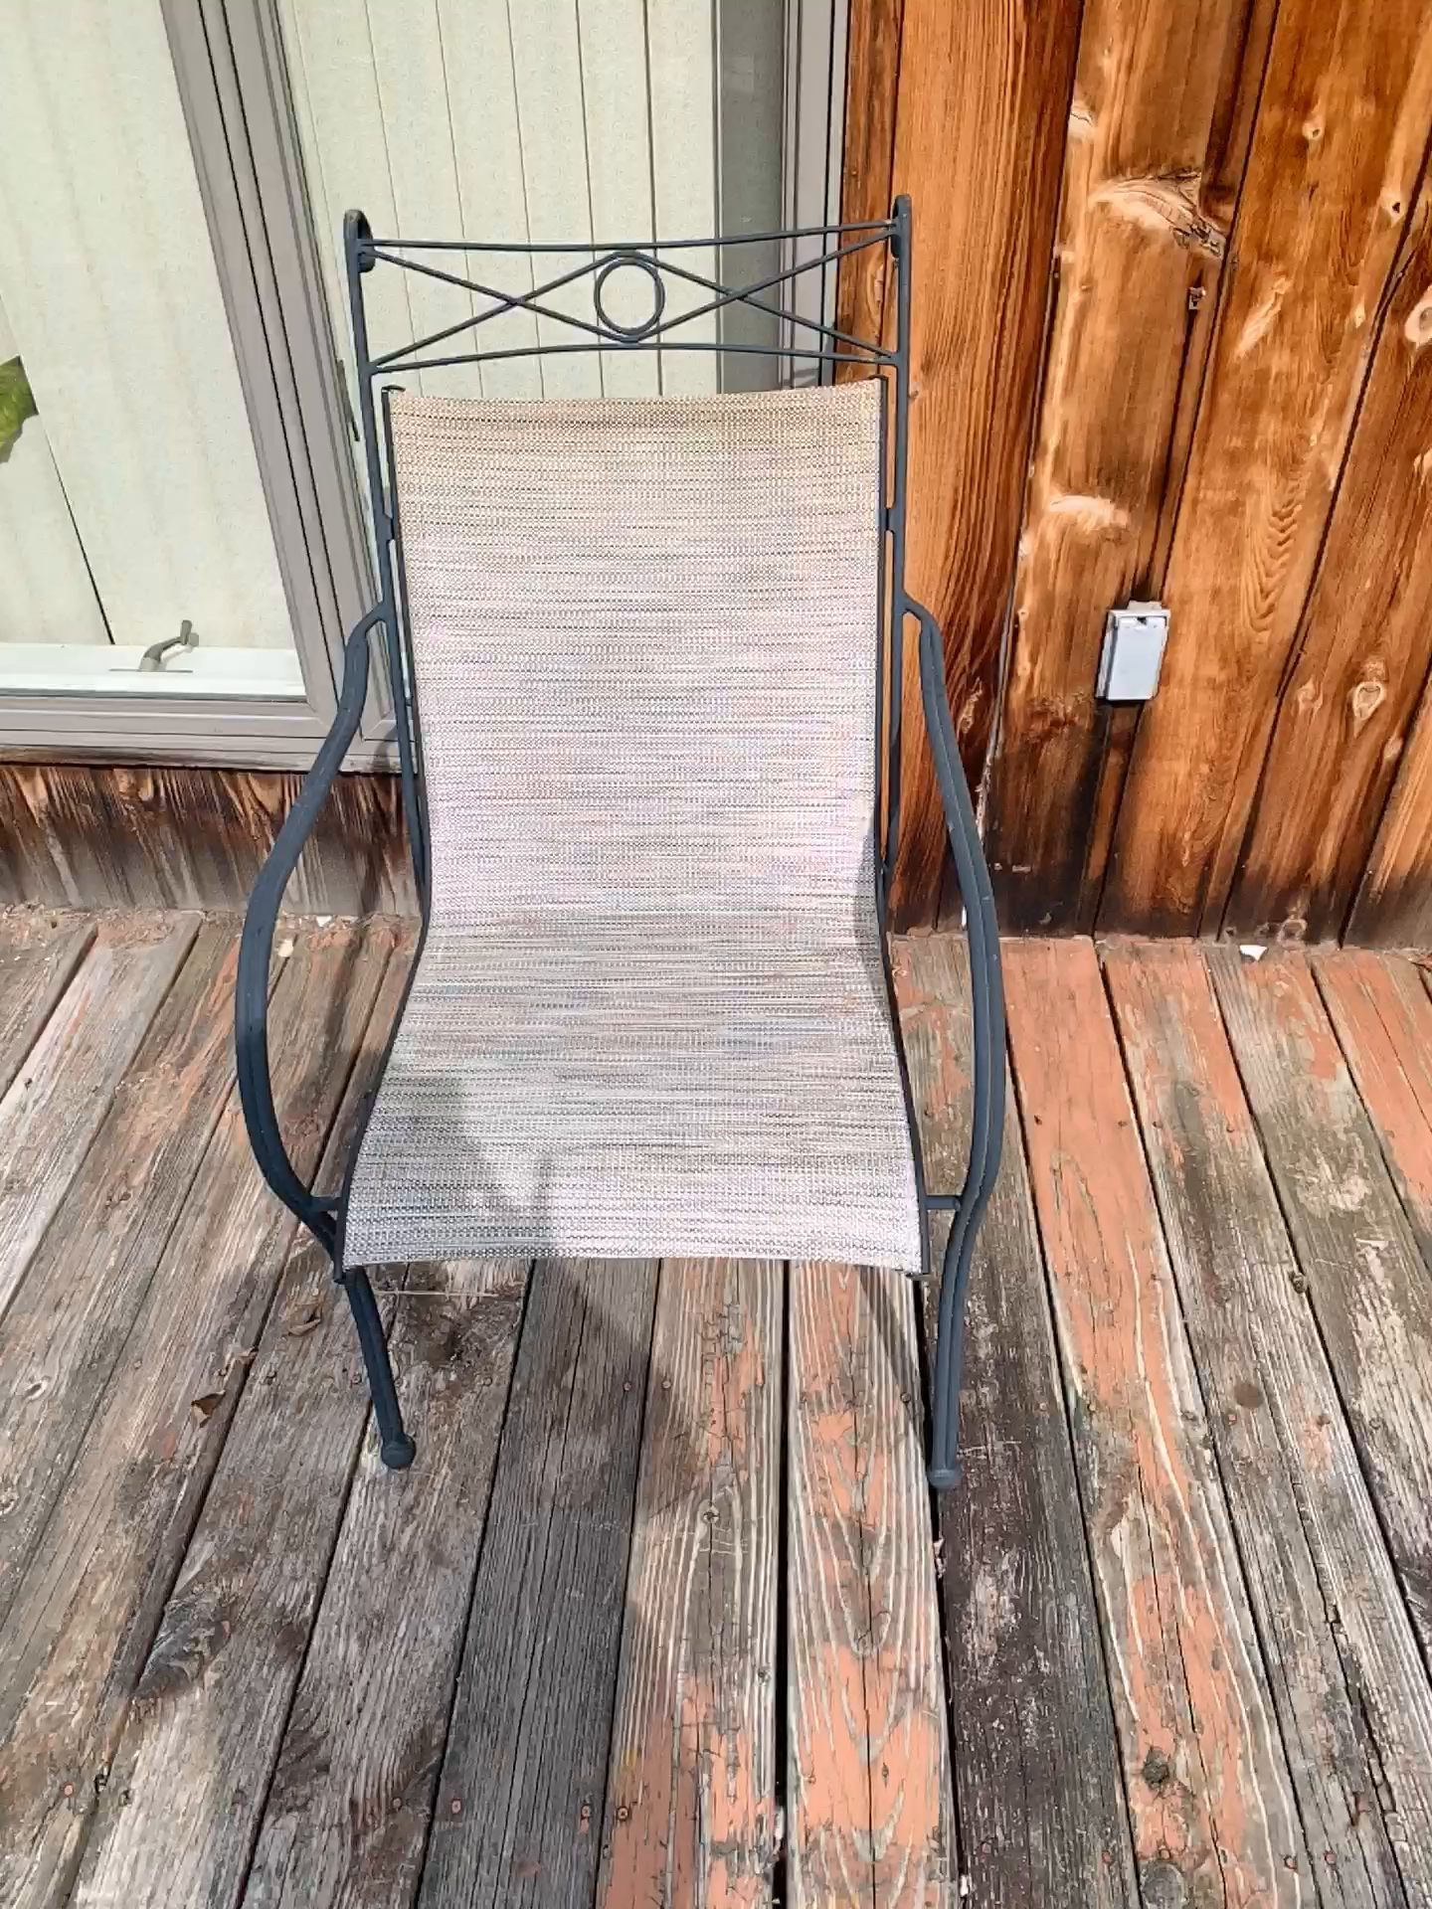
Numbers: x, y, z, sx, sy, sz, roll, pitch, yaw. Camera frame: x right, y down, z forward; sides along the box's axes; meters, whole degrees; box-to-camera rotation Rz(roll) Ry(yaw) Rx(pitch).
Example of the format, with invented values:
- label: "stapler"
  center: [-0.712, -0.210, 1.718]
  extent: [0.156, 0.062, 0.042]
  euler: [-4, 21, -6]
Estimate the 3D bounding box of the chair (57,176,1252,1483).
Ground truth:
- label: "chair"
  center: [-0.024, -0.090, 1.297]
  extent: [0.610, 0.944, 0.654]
  euler: [0, 39, 1]
